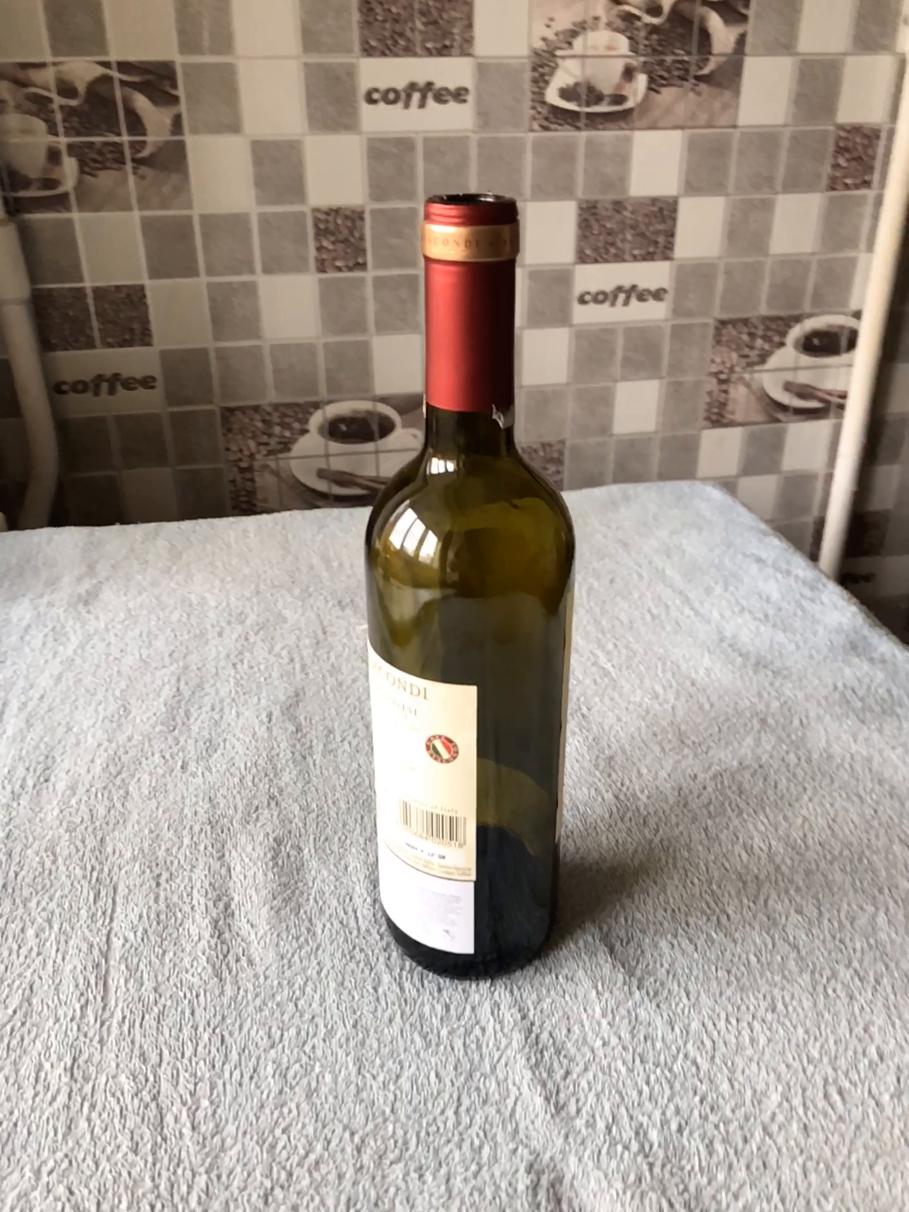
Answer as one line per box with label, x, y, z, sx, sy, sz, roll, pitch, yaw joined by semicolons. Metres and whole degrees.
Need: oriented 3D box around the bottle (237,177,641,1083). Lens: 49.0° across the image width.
bottle;-0.003;0.018;0.349;0.080;0.299;0.080;-1;28;0
